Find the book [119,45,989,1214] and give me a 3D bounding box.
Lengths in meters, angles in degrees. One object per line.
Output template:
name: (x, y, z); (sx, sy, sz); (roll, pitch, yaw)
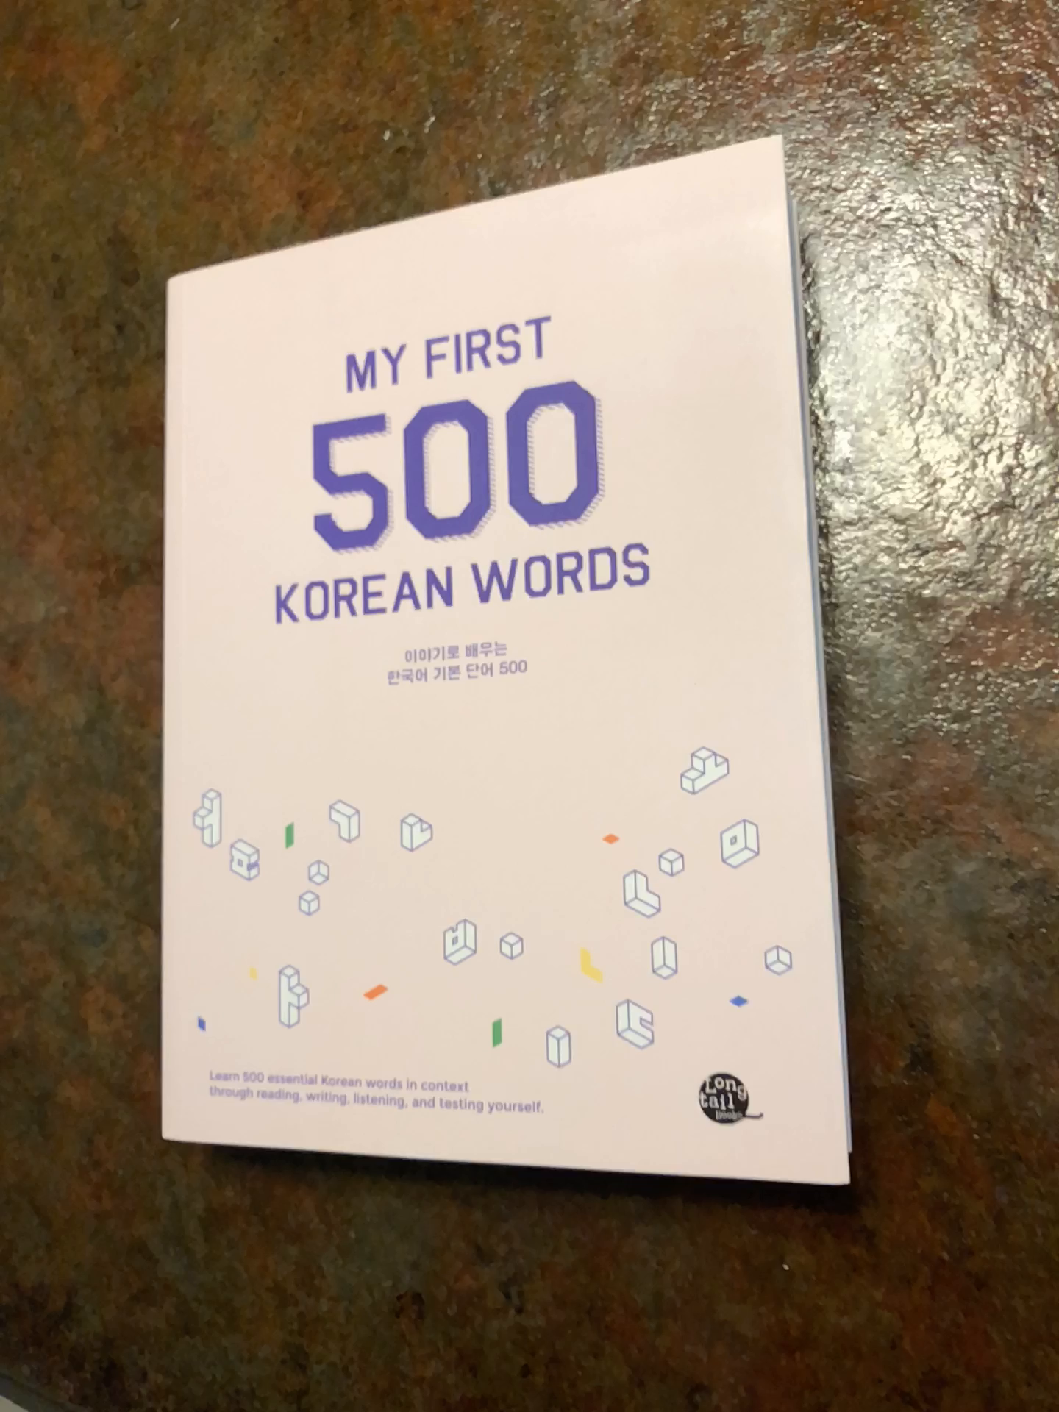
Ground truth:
book: (-0.004, -0.015, 0.273); (0.190, 0.030, 0.230); (-4, 82, 19)
